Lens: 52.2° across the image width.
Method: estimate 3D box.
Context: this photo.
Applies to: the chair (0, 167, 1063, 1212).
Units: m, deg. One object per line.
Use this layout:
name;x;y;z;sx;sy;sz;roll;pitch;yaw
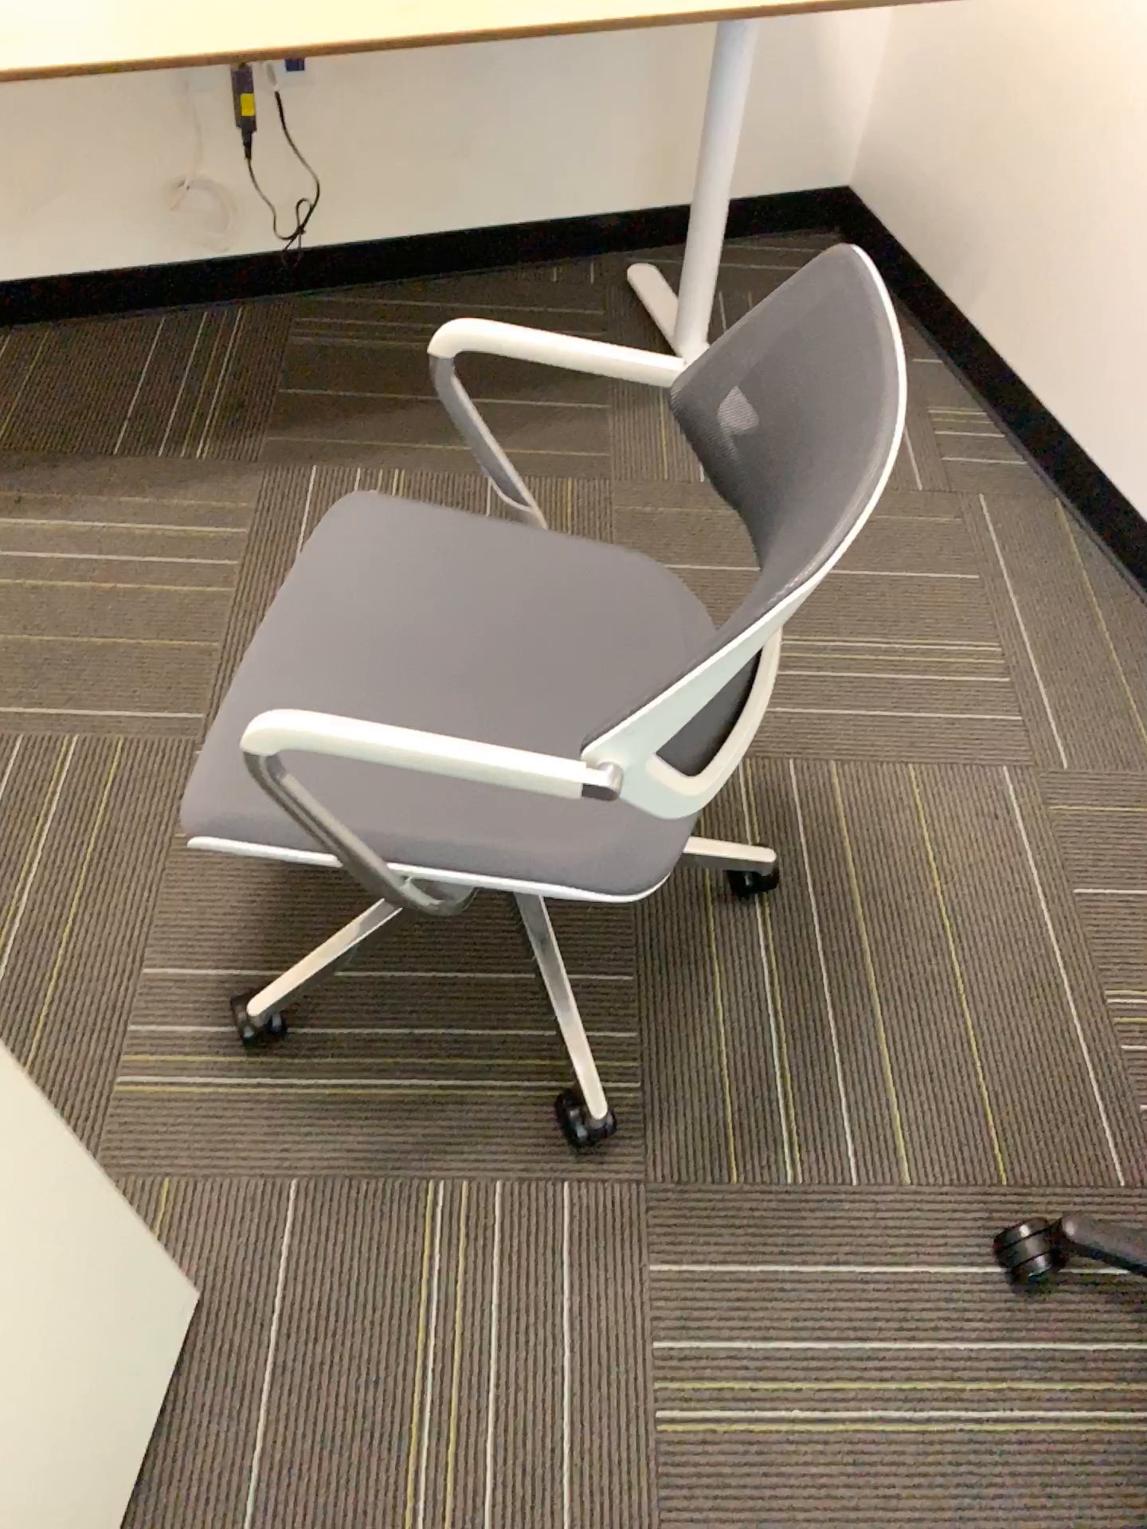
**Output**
chair;-0.045;-0.021;1.023;0.590;0.667;0.552;6;53;0
